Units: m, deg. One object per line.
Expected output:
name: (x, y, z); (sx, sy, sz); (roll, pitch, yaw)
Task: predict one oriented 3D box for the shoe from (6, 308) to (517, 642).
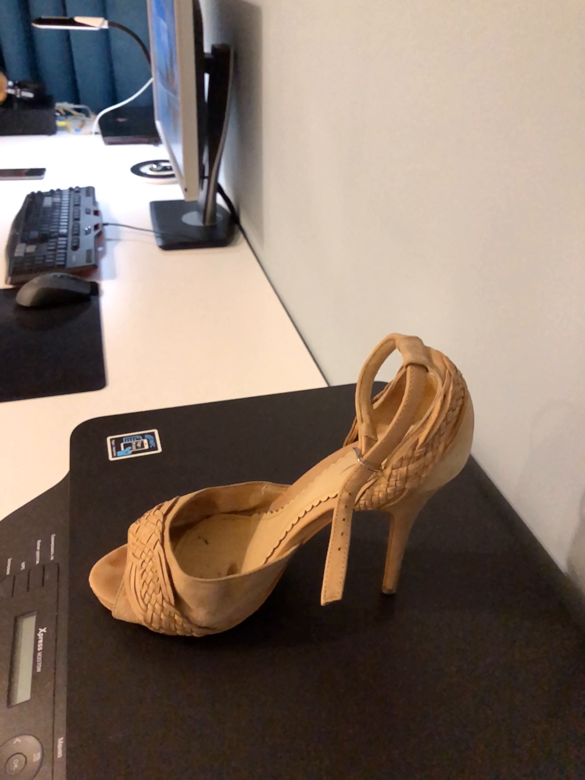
shoe: (-0.015, 0.048, 0.360); (0.220, 0.159, 0.091); (-1, 34, -4)
